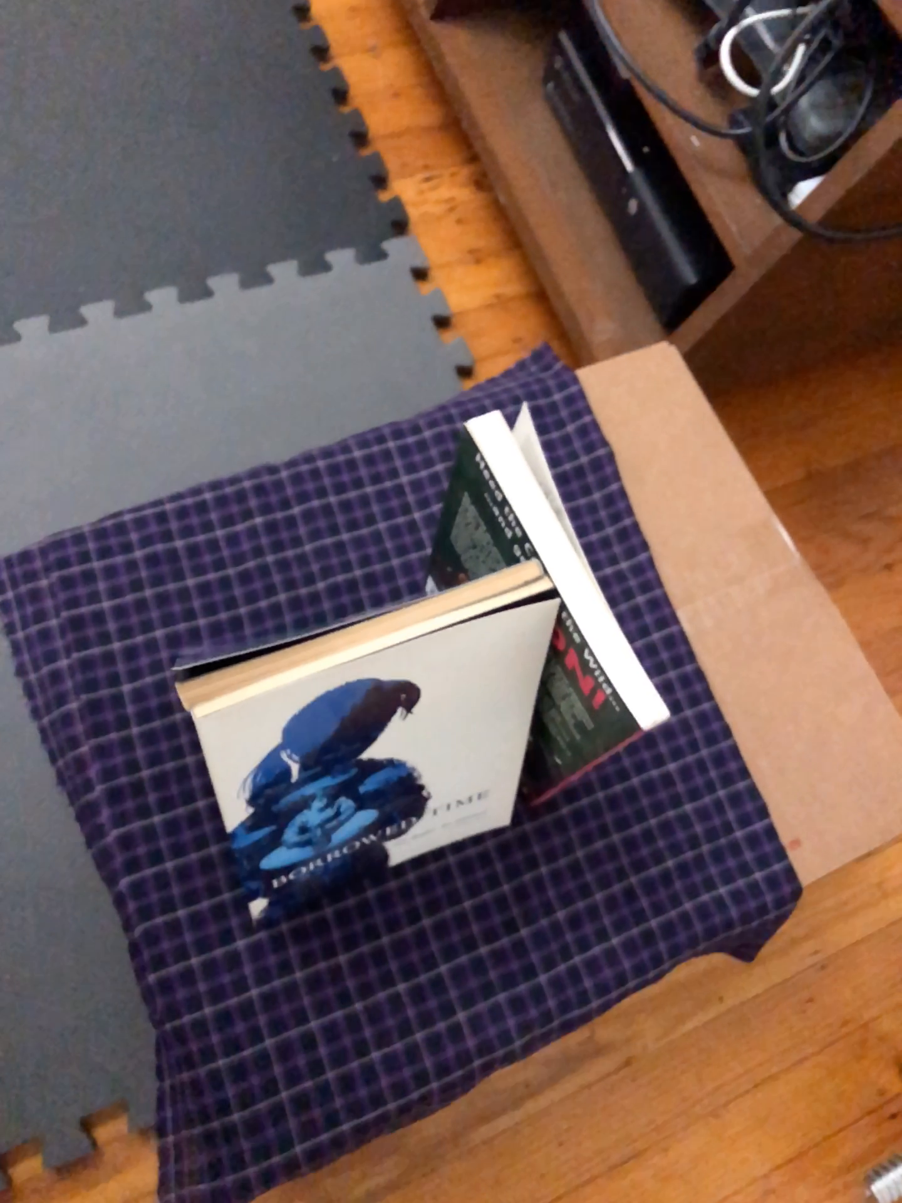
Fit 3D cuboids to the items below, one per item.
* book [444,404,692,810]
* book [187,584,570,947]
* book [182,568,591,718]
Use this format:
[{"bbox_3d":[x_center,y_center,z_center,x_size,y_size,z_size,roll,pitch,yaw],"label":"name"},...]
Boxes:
[{"bbox_3d":[0.040,0.017,0.458,0.020,0.190,0.140,-23,76,-11],"label":"book"},{"bbox_3d":[-0.027,0.080,0.427,0.140,0.200,0.010,-19,56,-18],"label":"book"},{"bbox_3d":[-0.045,0.013,0.451,0.150,0.200,0.010,-17,94,-15],"label":"book"}]
